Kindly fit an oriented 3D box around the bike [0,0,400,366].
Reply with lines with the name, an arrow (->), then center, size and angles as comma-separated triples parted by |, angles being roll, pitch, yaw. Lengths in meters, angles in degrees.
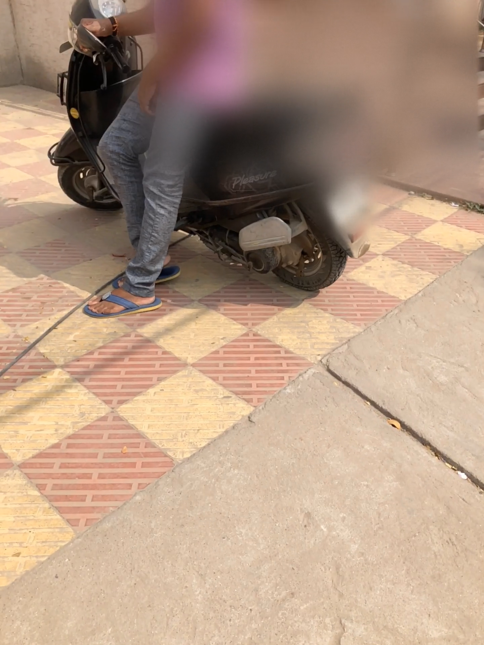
bike -> -0.399, -0.710, 2.078 | 1.593, 1.116, 0.639 | 21, 37, 27
